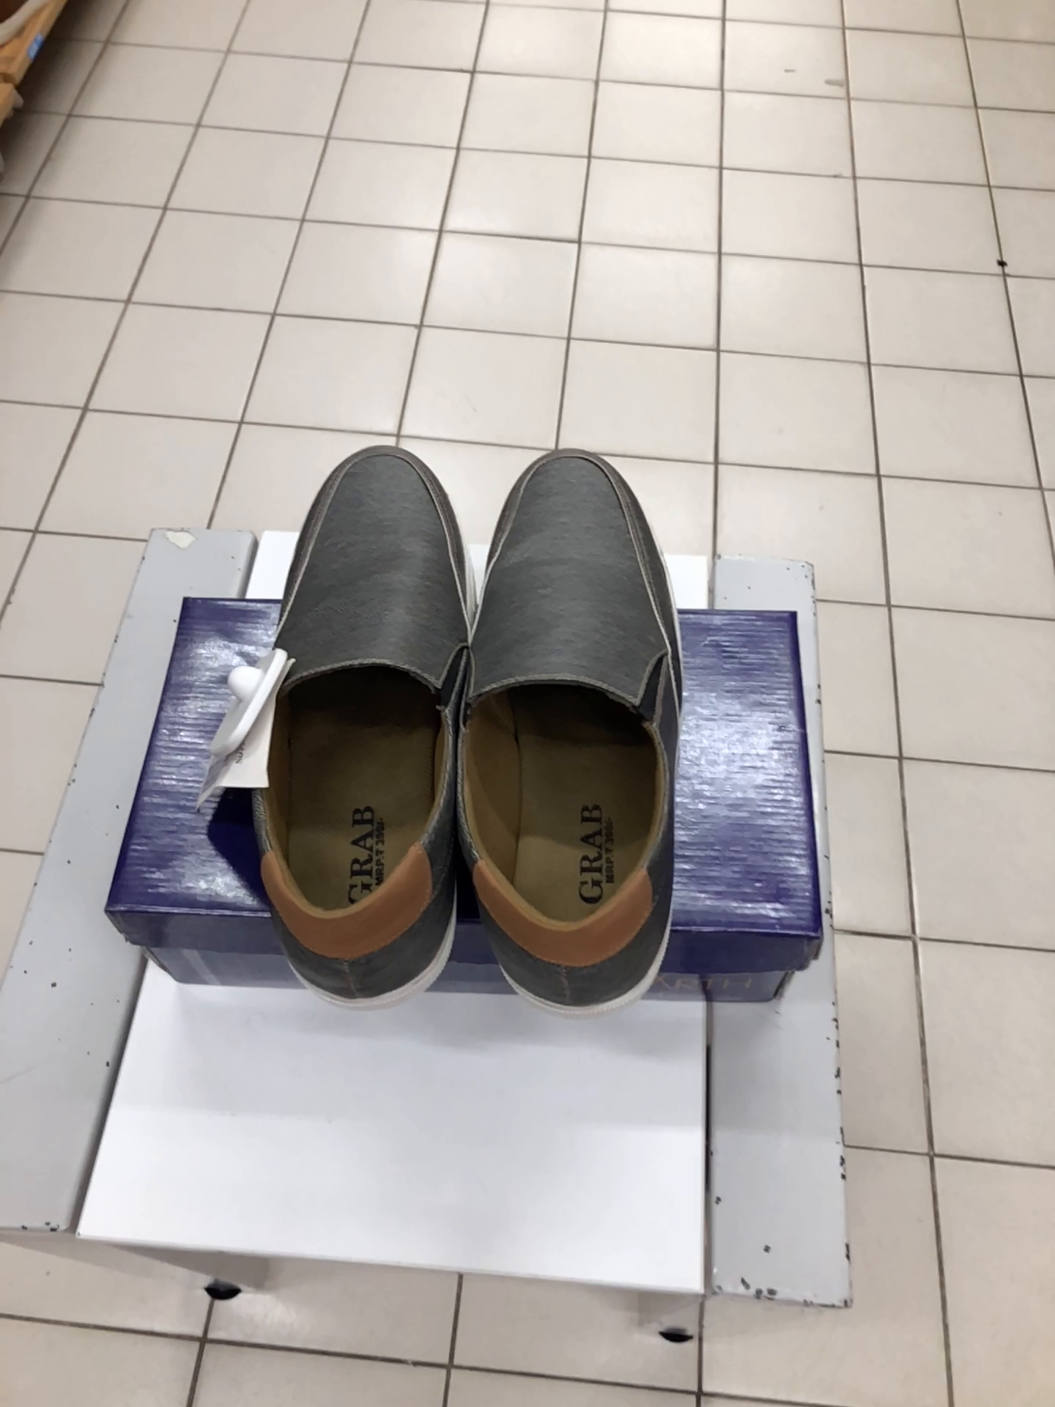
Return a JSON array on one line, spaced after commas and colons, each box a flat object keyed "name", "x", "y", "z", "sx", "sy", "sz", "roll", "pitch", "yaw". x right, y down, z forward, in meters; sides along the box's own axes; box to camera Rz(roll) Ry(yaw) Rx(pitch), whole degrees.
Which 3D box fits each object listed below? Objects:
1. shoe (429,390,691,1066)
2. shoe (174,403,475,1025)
[{"name": "shoe", "x": 0.024, "y": 0.003, "z": 0.574, "sx": 0.100, "sy": 0.120, "sz": 0.311, "roll": 3, "pitch": 59, "yaw": 2}, {"name": "shoe", "x": -0.078, "y": -0.003, "z": 0.532, "sx": 0.100, "sy": 0.100, "sz": 0.271, "roll": -1, "pitch": 59, "yaw": 0}]
